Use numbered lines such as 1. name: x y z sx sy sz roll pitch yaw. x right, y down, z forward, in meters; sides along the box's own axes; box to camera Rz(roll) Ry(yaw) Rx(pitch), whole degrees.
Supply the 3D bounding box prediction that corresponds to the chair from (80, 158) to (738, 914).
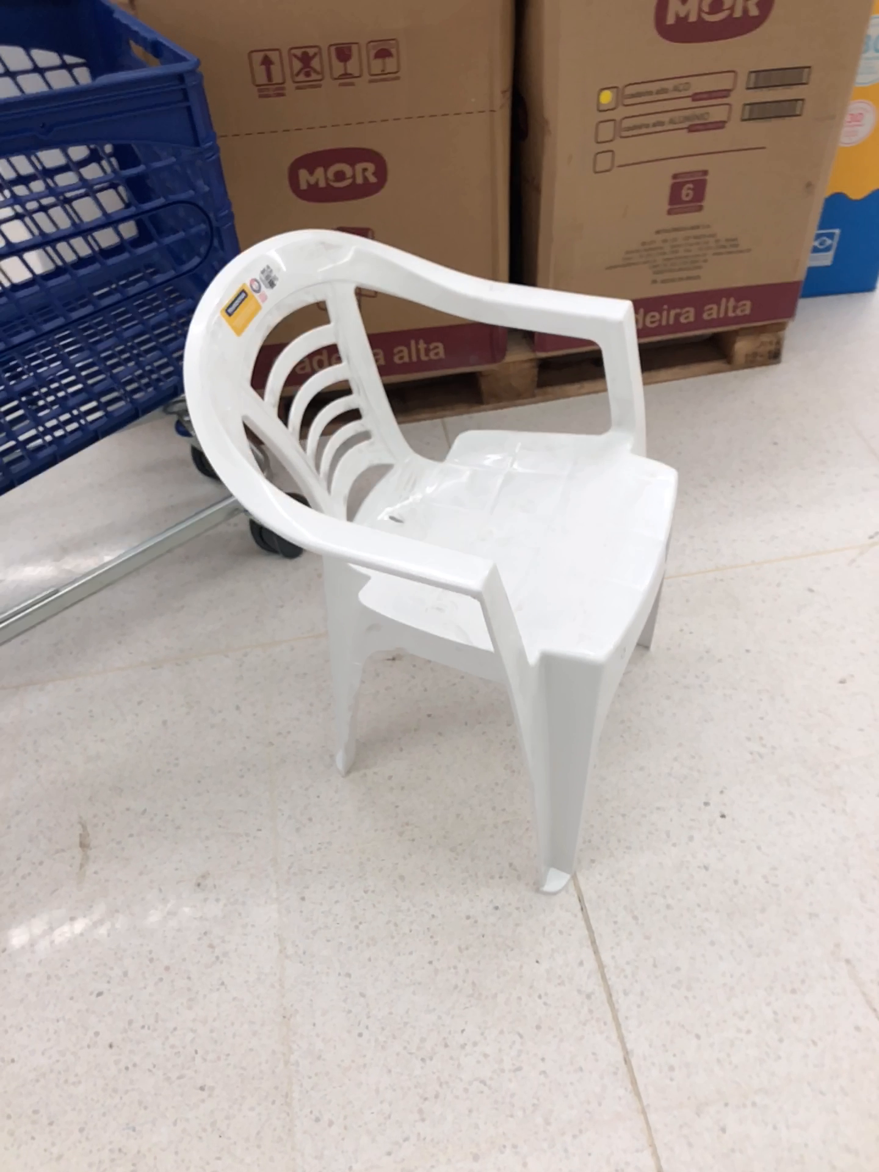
1. chair: 0.020 -0.057 1.219 0.500 0.695 0.523 14 49 16
